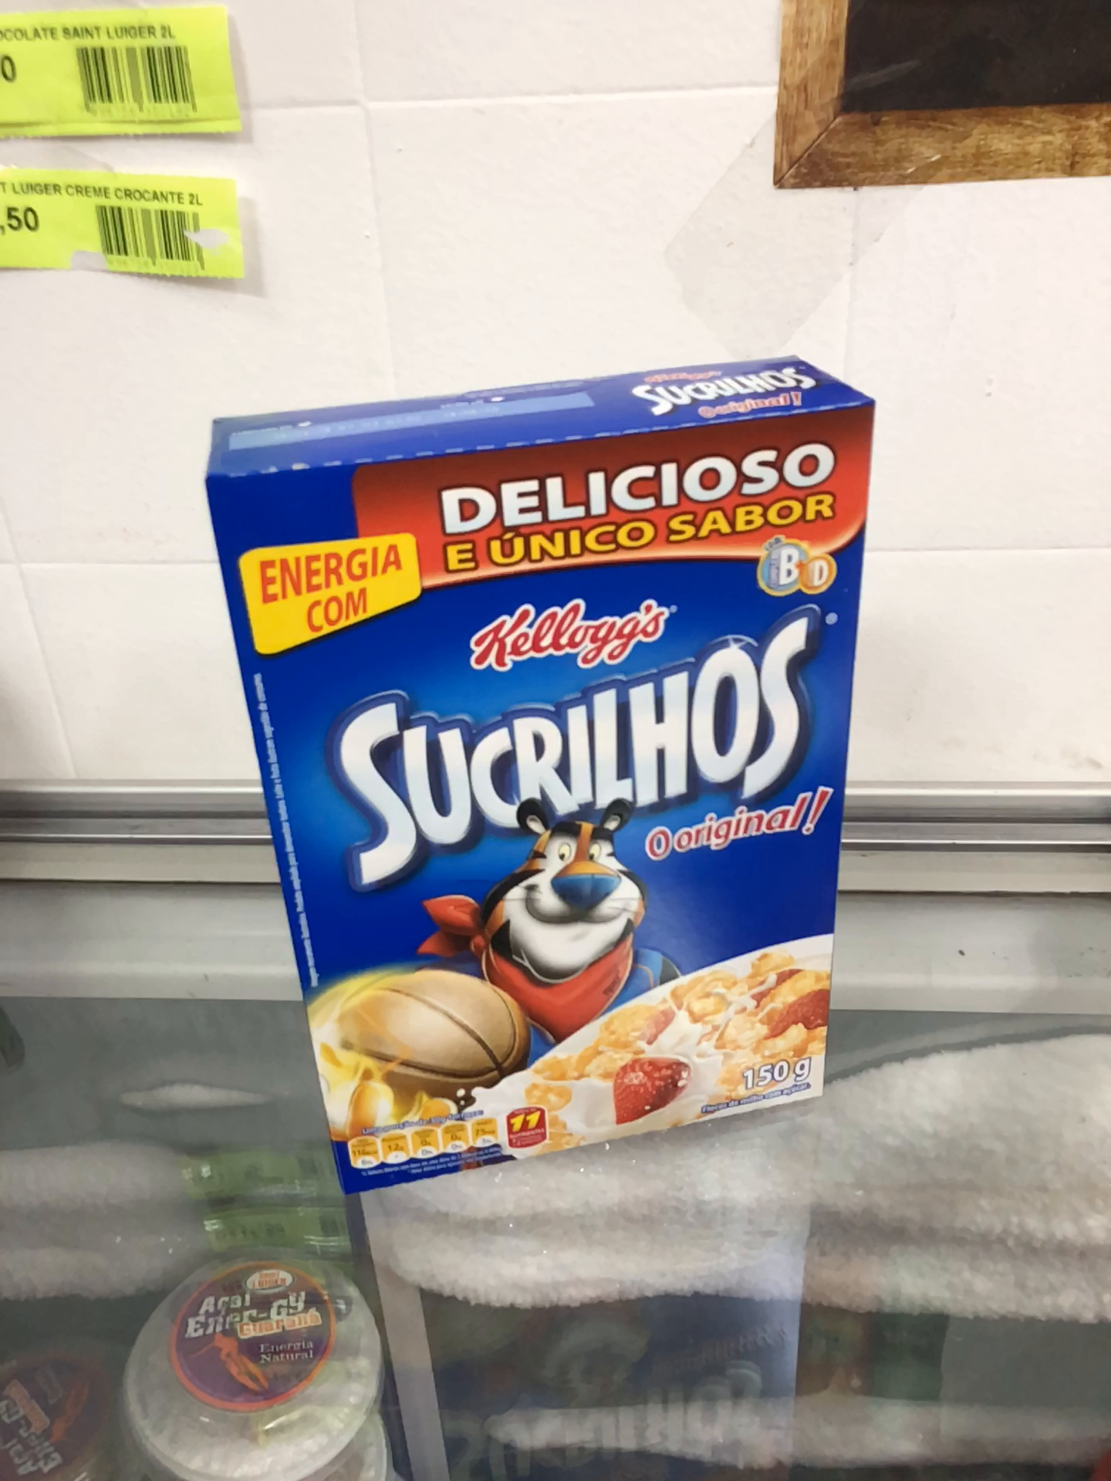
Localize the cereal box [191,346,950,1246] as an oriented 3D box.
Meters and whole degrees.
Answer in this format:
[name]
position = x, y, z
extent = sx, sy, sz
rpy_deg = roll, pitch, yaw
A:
[cereal box]
position = 0.005, 0.019, 0.292
extent = 0.140, 0.199, 0.050
rpy_deg = -8, 30, -9
